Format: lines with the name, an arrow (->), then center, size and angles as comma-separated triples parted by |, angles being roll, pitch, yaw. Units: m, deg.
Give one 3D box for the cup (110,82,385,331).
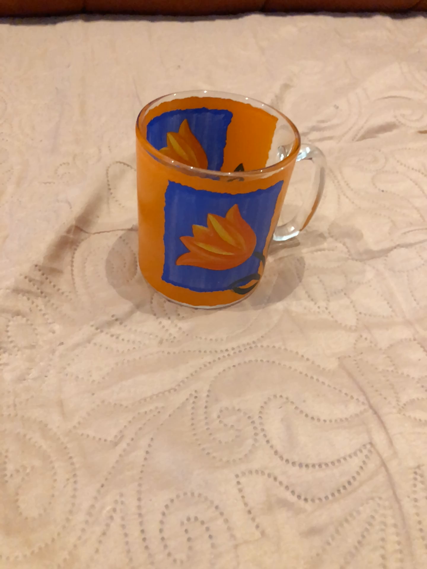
cup -> 0.010, -0.044, 0.258 | 0.110, 0.089, 0.080 | -10, 50, -16
